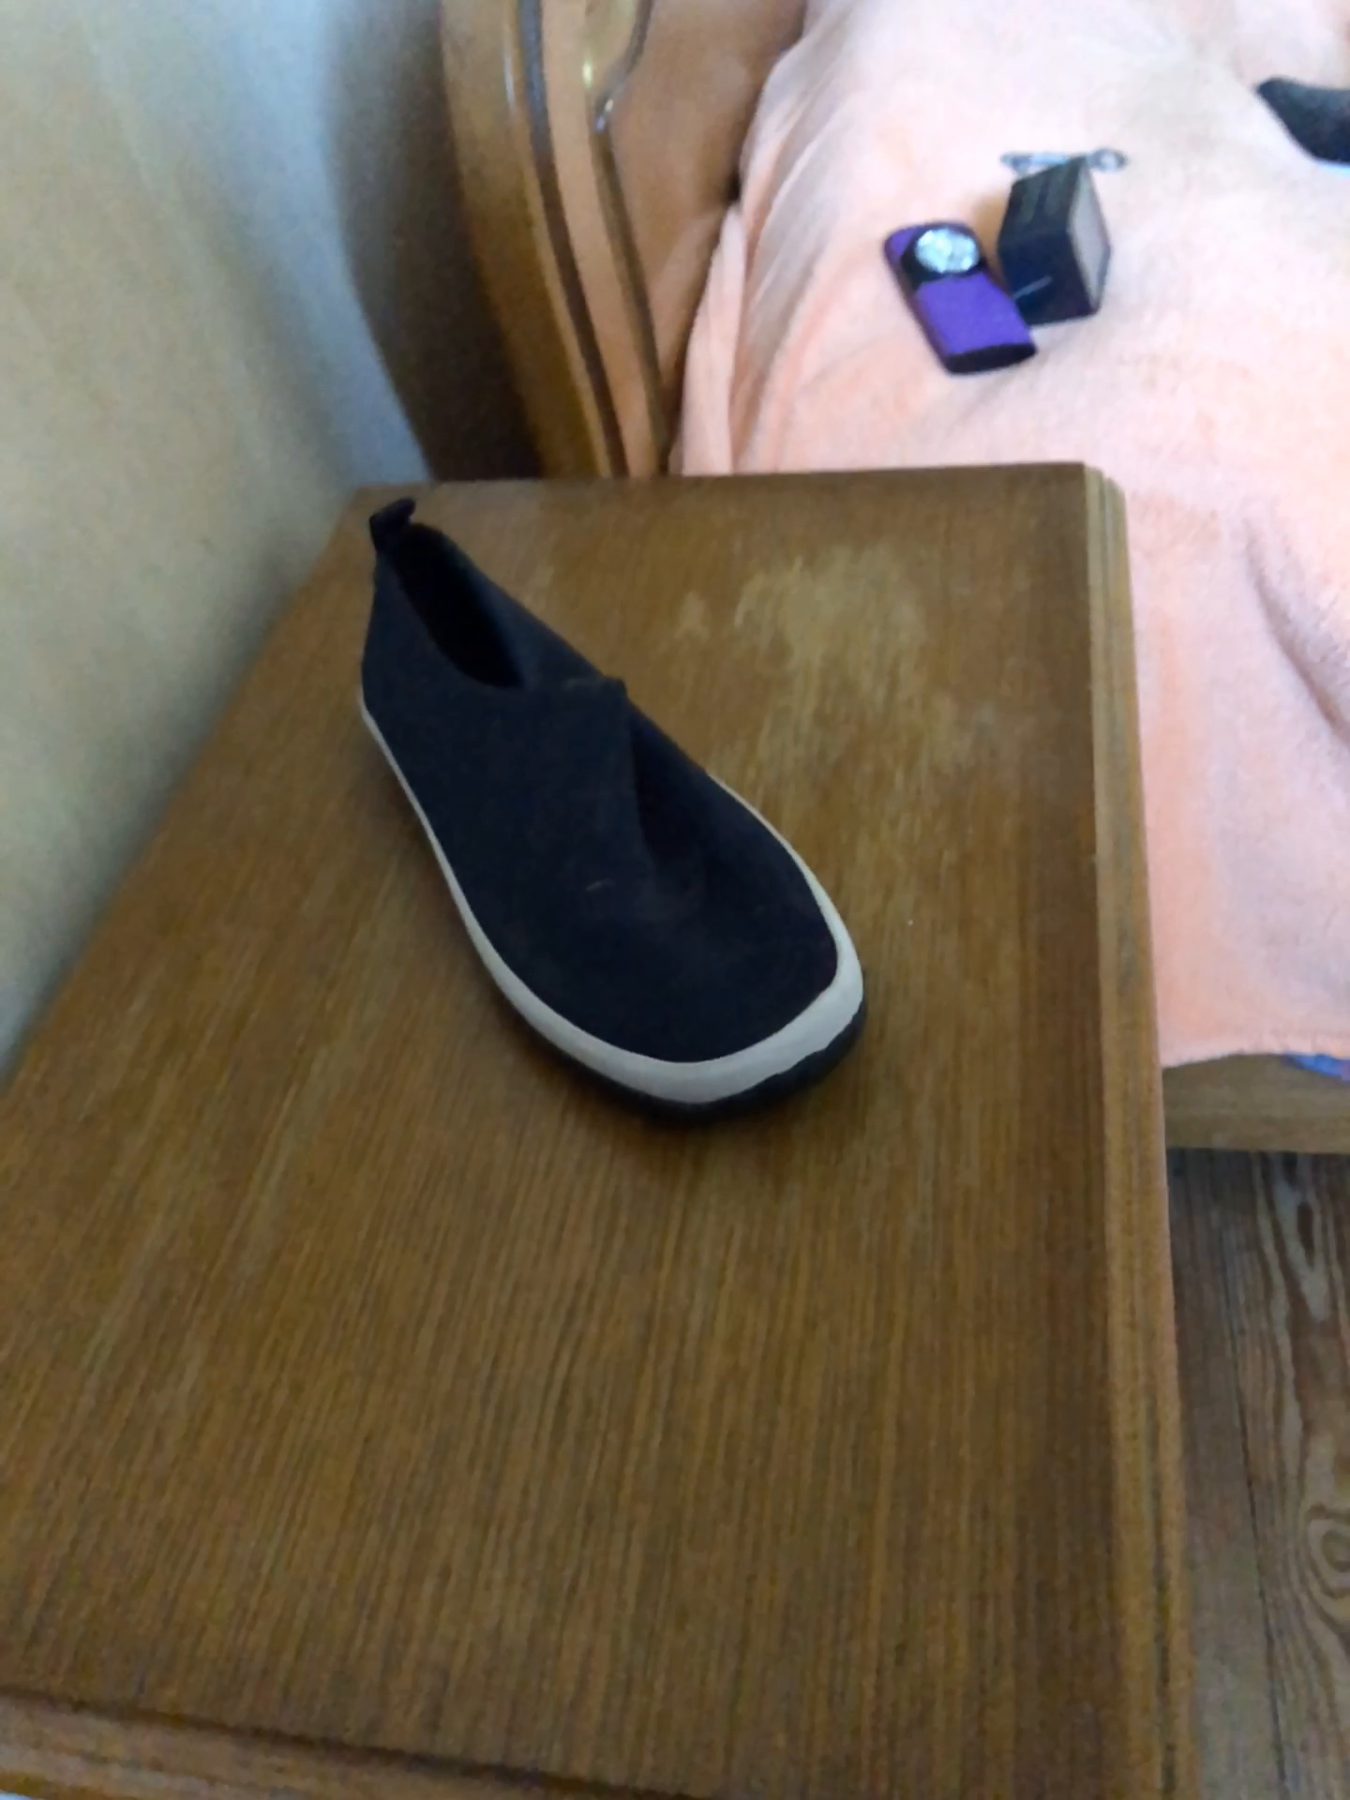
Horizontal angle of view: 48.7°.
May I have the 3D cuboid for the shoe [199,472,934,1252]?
[{"bbox_3d":[-0.045,-0.031,0.456,0.100,0.080,0.261,-29,46,-16],"label":"shoe"}]
